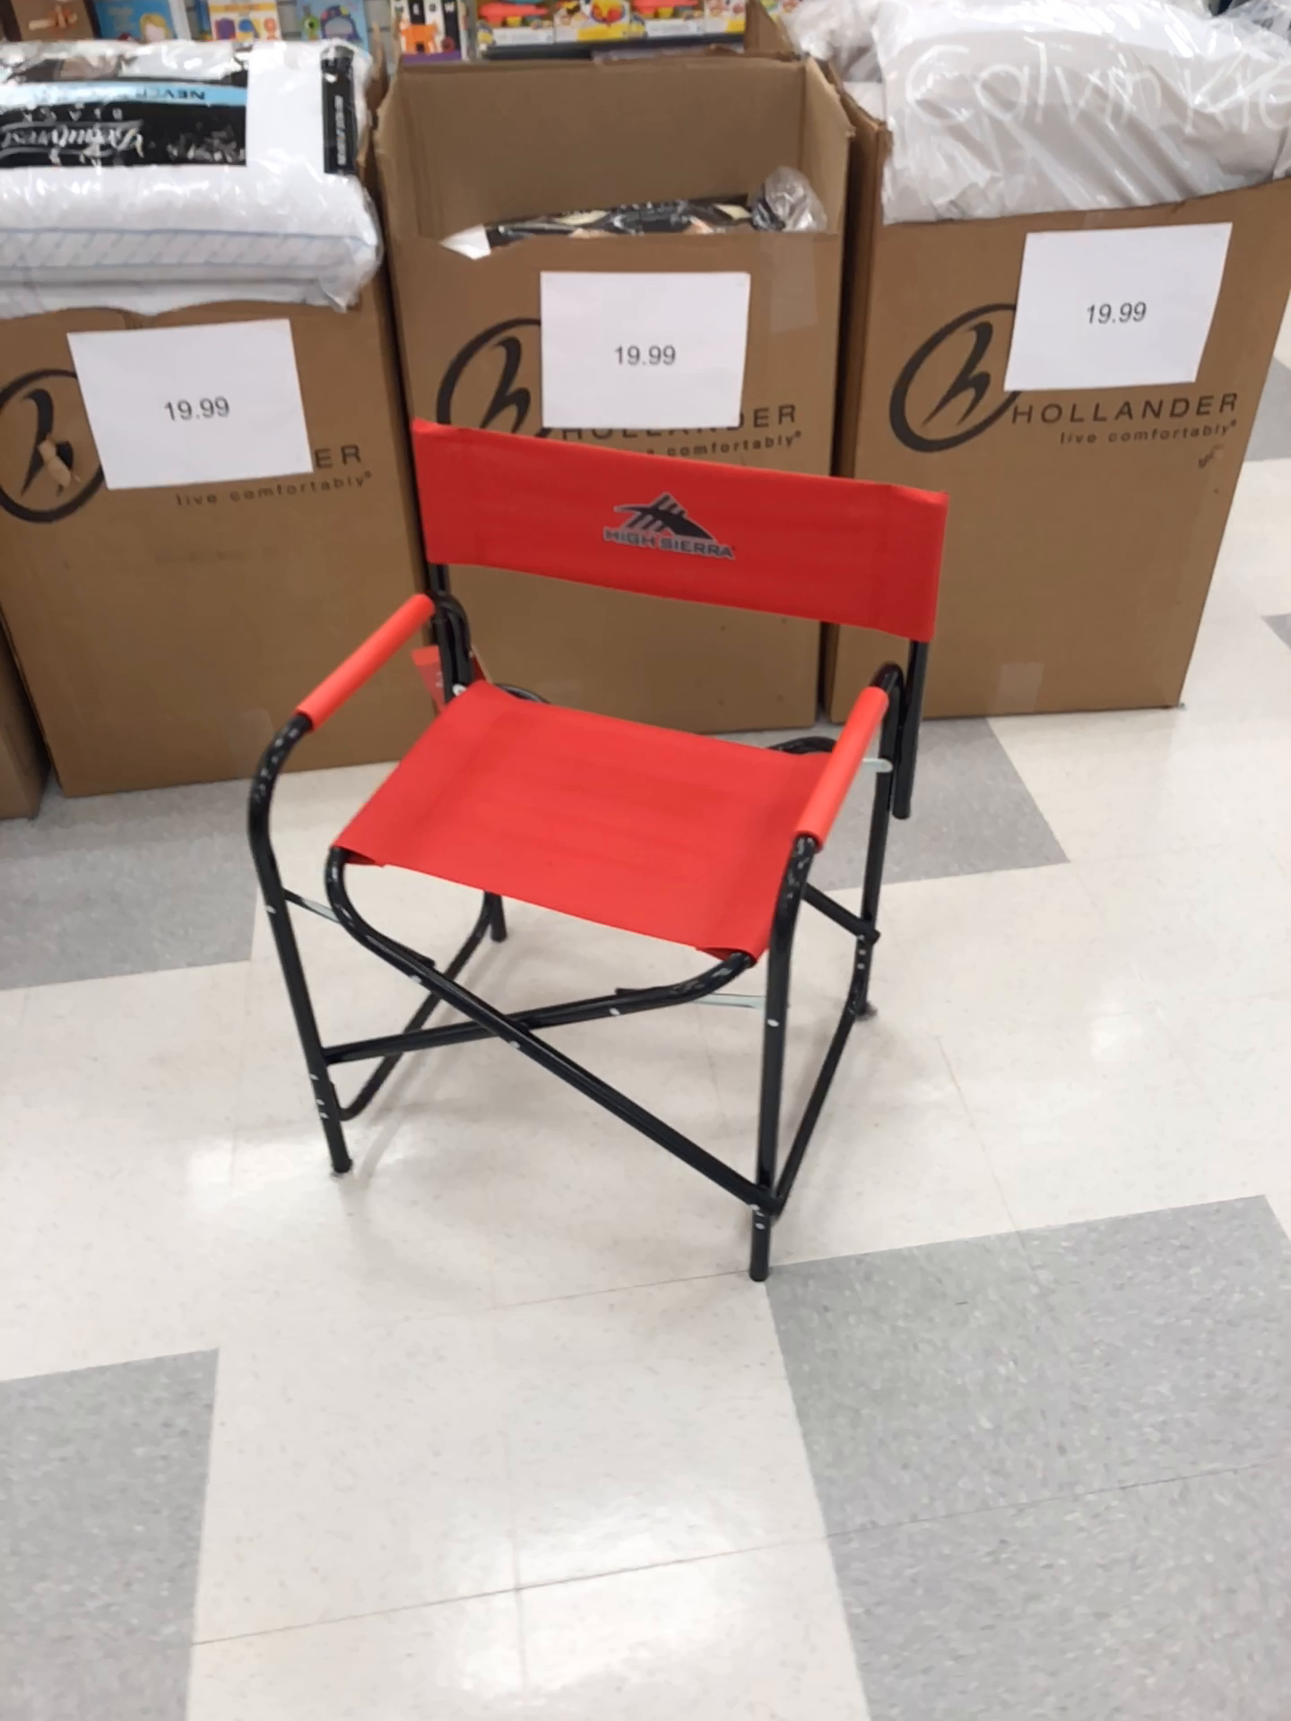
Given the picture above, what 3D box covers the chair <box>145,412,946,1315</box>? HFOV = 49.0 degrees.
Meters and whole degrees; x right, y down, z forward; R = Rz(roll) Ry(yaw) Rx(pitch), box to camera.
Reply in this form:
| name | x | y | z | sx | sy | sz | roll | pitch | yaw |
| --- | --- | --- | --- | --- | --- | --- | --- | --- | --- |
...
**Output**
| name | x | y | z | sx | sy | sz | roll | pitch | yaw |
| --- | --- | --- | --- | --- | --- | --- | --- | --- | --- |
| chair | -0.056 | -0.003 | 1.540 | 0.592 | 0.729 | 0.491 | 12 | 43 | 16 |
